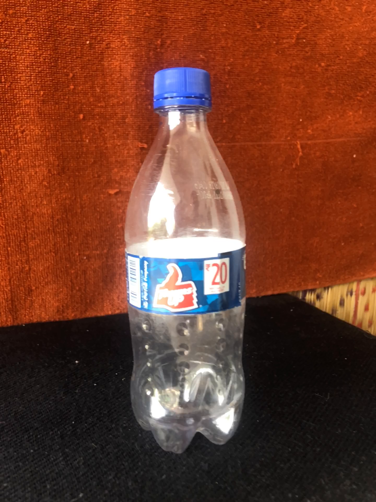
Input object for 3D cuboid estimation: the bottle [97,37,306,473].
[{"bbox_3d":[0.000,0.002,0.165,0.060,0.140,0.050,-3,13,-20],"label":"bottle"}]
